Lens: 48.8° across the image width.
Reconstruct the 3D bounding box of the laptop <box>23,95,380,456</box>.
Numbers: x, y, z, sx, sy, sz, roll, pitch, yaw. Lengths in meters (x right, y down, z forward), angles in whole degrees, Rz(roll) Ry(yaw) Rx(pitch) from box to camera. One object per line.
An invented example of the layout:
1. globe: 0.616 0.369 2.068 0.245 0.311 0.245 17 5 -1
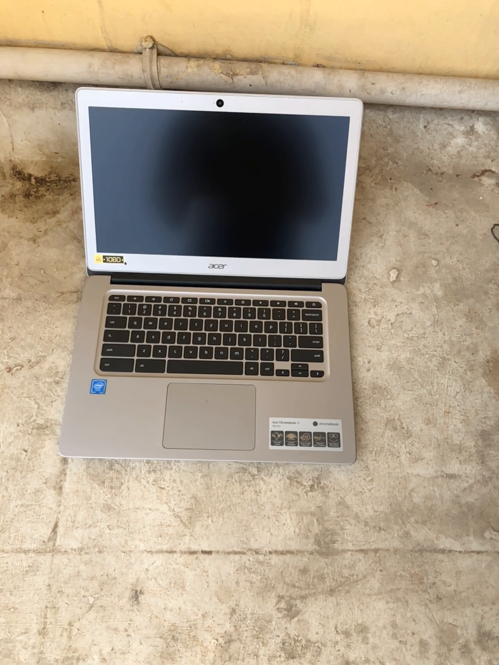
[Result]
1. laptop: -0.043 -0.066 0.619 0.315 0.136 0.379 1 68 -1
